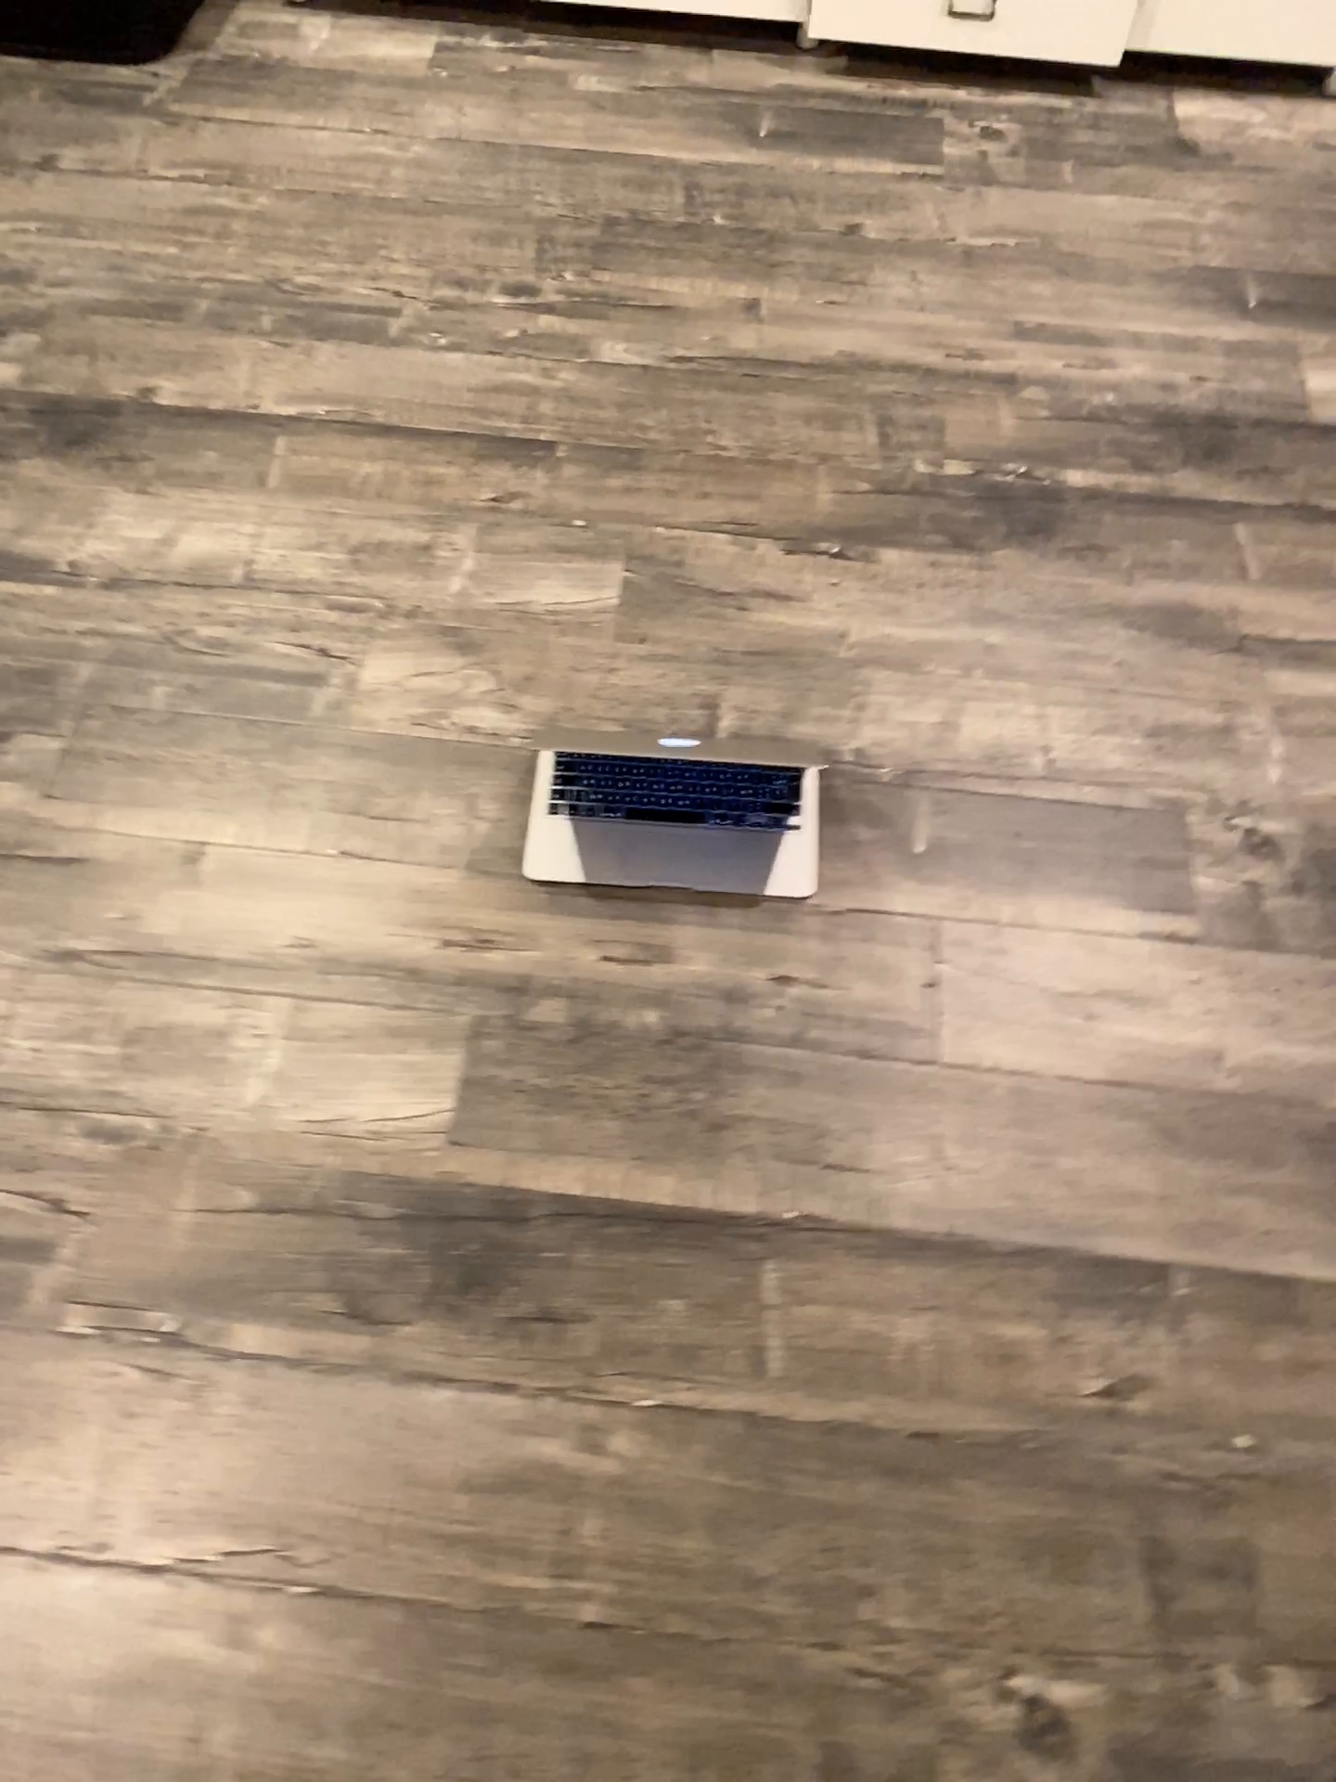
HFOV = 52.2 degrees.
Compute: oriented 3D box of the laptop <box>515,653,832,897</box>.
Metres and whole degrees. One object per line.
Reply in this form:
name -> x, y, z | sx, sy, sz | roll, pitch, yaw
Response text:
laptop -> 0.007, -0.116, 1.359 | 0.292, 0.132, 0.193 | 2, 57, 1
